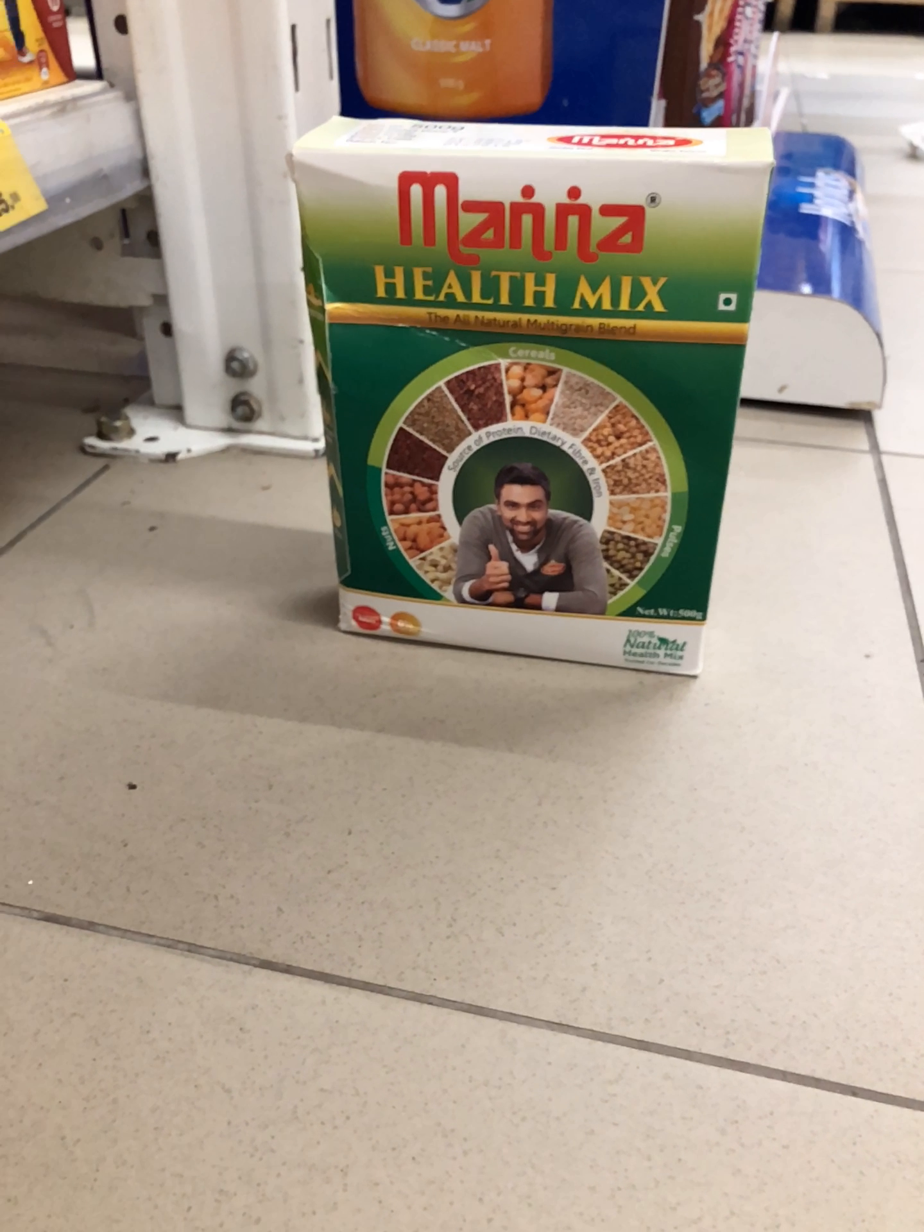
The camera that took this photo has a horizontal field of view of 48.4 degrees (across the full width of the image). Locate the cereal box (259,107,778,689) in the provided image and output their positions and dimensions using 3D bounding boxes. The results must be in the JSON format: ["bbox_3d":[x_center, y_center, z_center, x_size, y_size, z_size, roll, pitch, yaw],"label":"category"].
[{"bbox_3d":[0.017,-0.072,0.367,0.150,0.189,0.050,5,33,7],"label":"cereal box"}]
